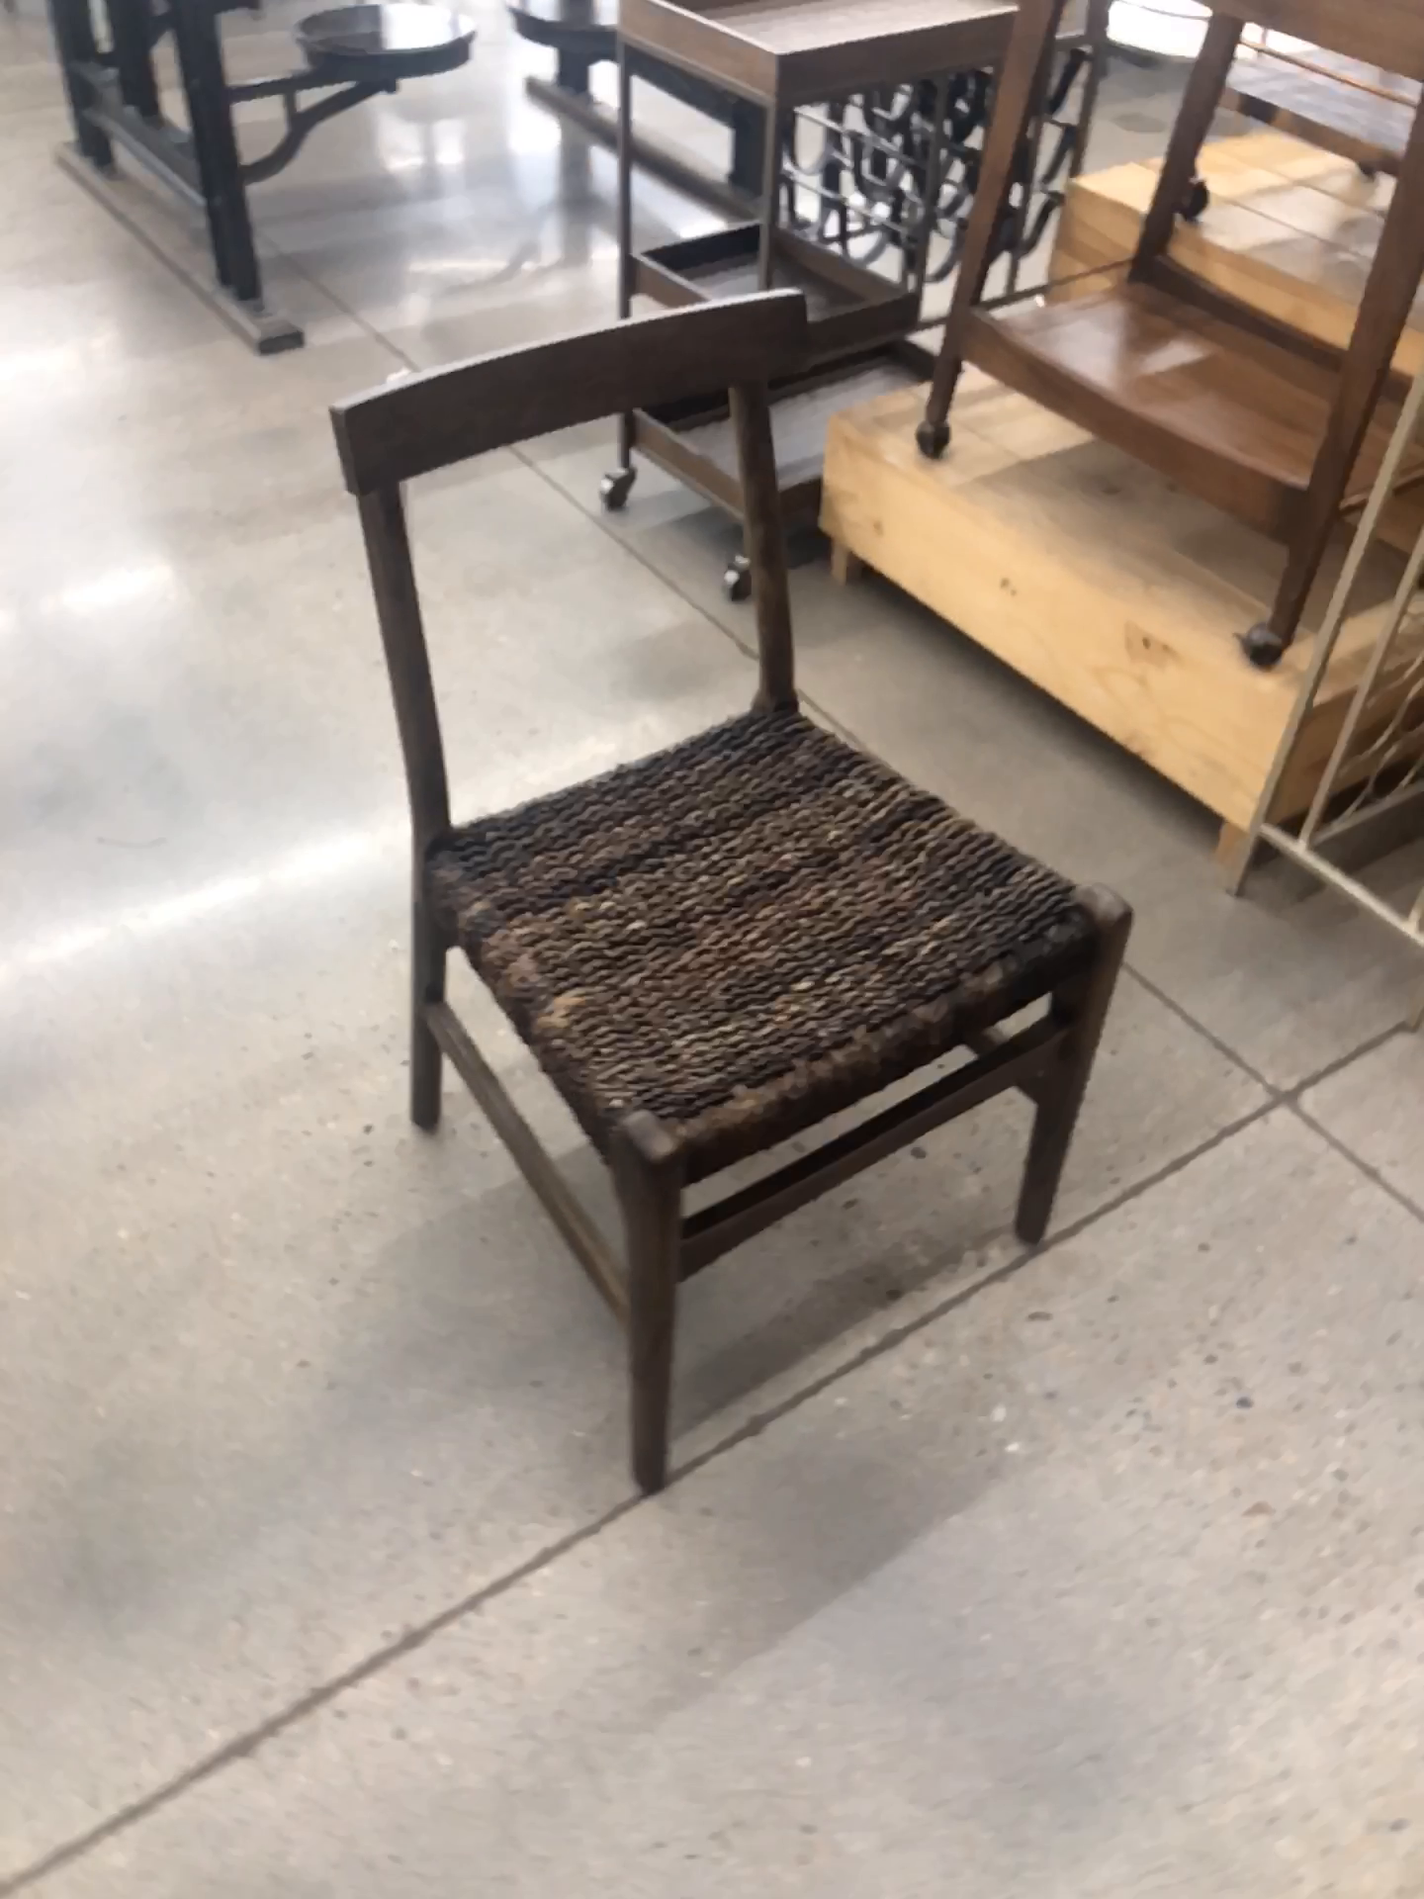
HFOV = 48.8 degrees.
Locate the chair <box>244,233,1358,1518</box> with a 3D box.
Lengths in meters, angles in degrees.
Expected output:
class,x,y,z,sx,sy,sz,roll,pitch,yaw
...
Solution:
class,x,y,z,sx,sy,sz,roll,pitch,yaw
chair,0.030,-0.058,1.353,0.549,0.816,0.533,-25,51,-26
